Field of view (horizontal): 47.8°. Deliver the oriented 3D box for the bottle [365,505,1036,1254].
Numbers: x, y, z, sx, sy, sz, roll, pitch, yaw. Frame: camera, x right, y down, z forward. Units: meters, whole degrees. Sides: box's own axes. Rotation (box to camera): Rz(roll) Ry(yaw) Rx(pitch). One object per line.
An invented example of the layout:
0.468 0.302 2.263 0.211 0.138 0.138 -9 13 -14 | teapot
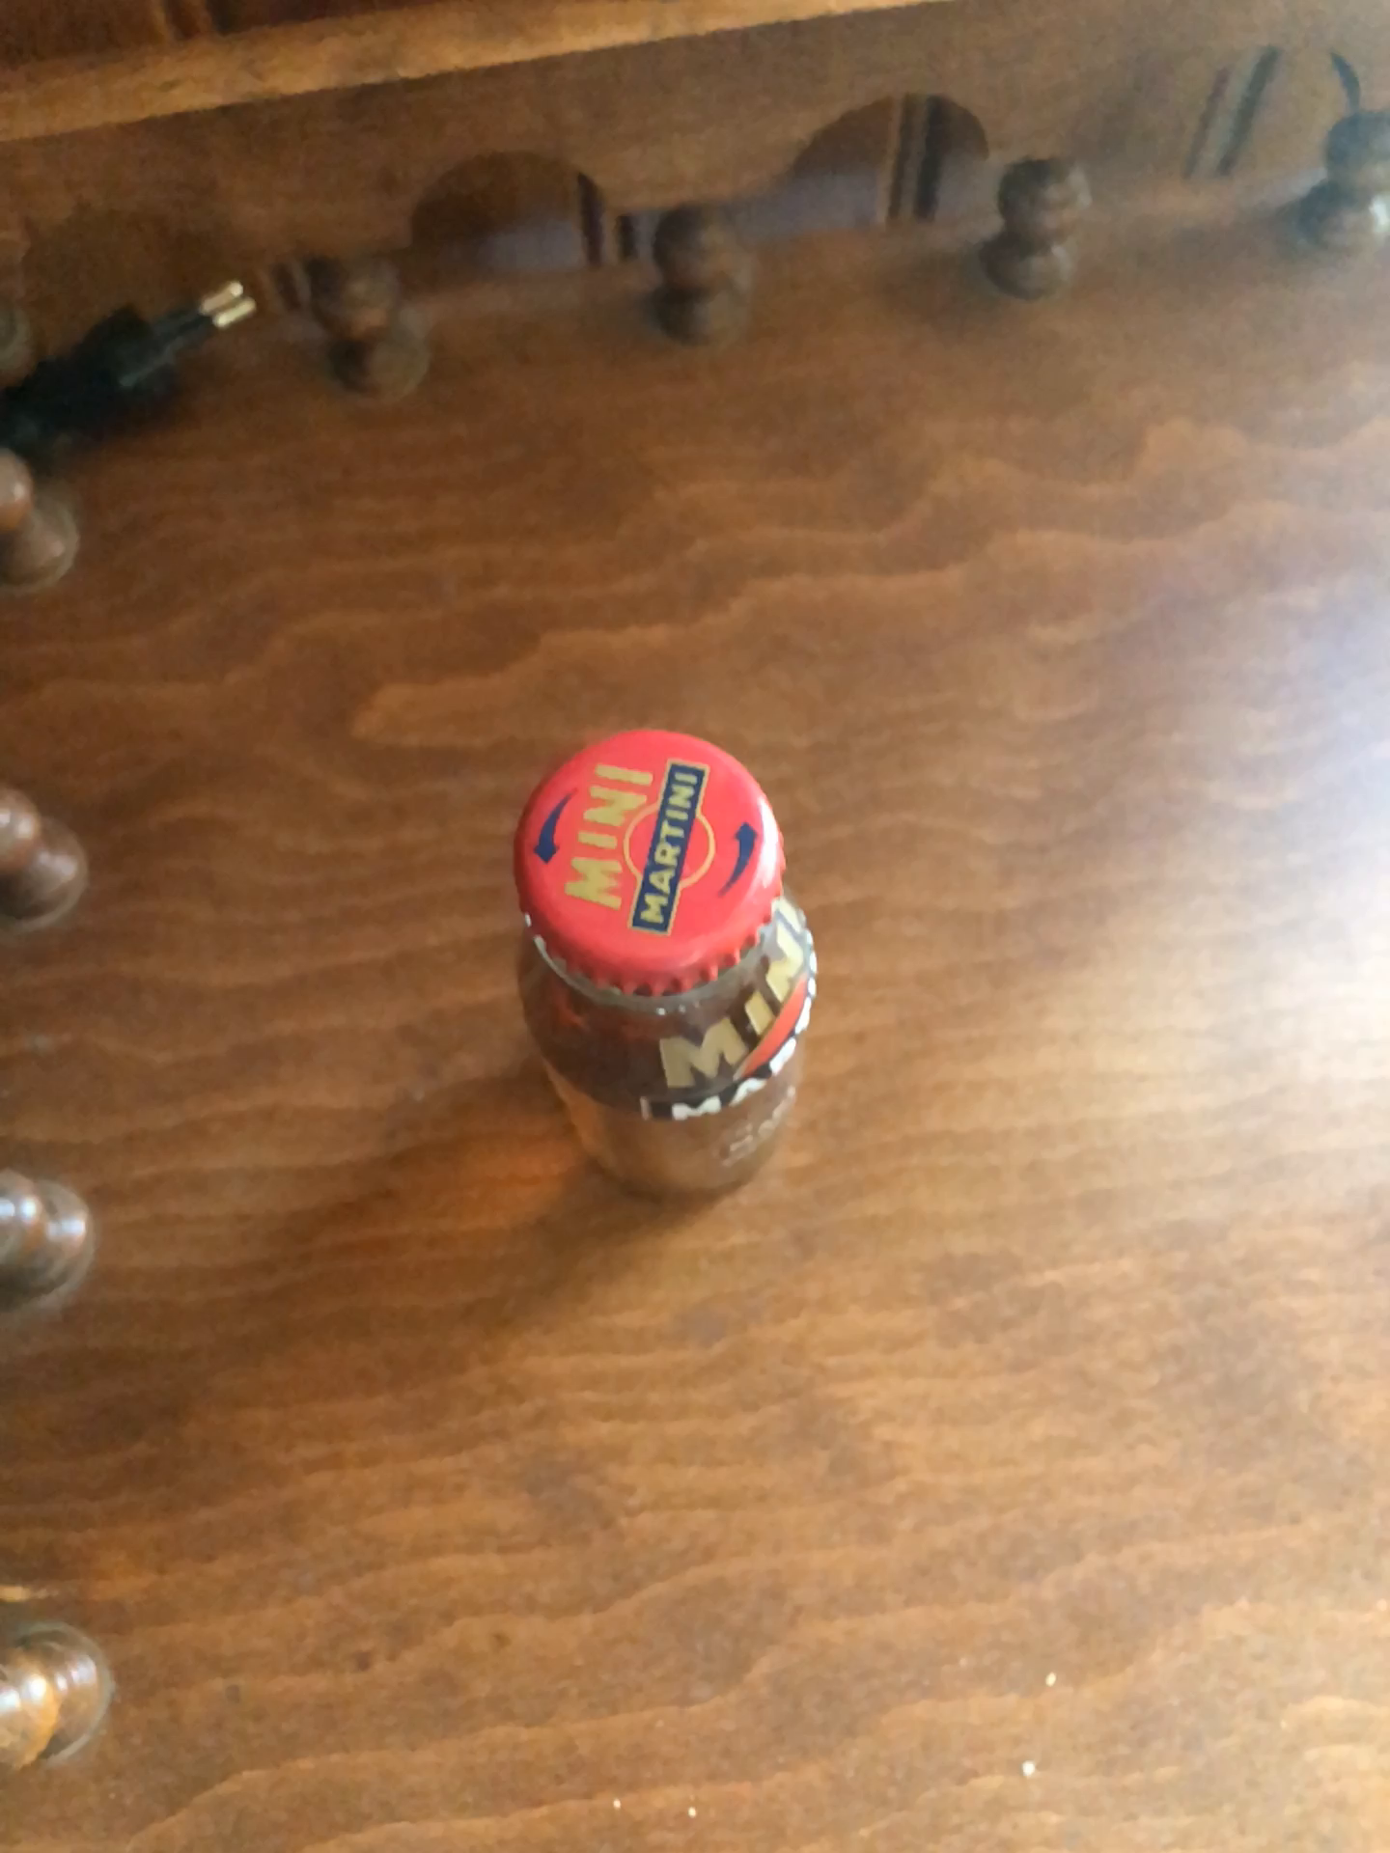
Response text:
0.002 0.003 0.215 0.050 0.110 0.050 0 72 1 | bottle
